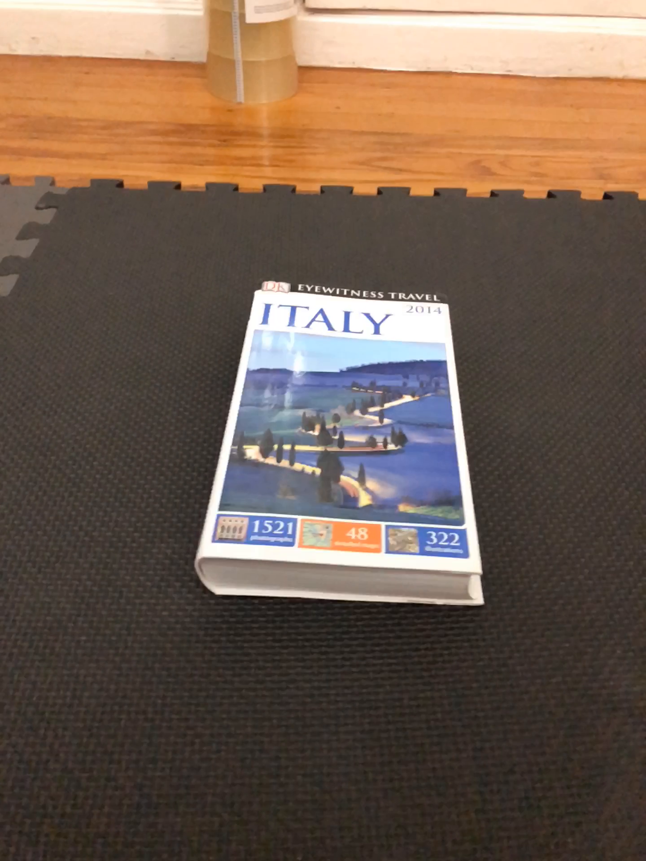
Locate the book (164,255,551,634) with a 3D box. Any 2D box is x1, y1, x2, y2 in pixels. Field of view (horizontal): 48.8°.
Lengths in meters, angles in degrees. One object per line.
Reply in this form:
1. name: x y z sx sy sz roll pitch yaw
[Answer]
1. book: 0.018 -0.013 0.398 0.160 0.040 0.252 2 44 0
